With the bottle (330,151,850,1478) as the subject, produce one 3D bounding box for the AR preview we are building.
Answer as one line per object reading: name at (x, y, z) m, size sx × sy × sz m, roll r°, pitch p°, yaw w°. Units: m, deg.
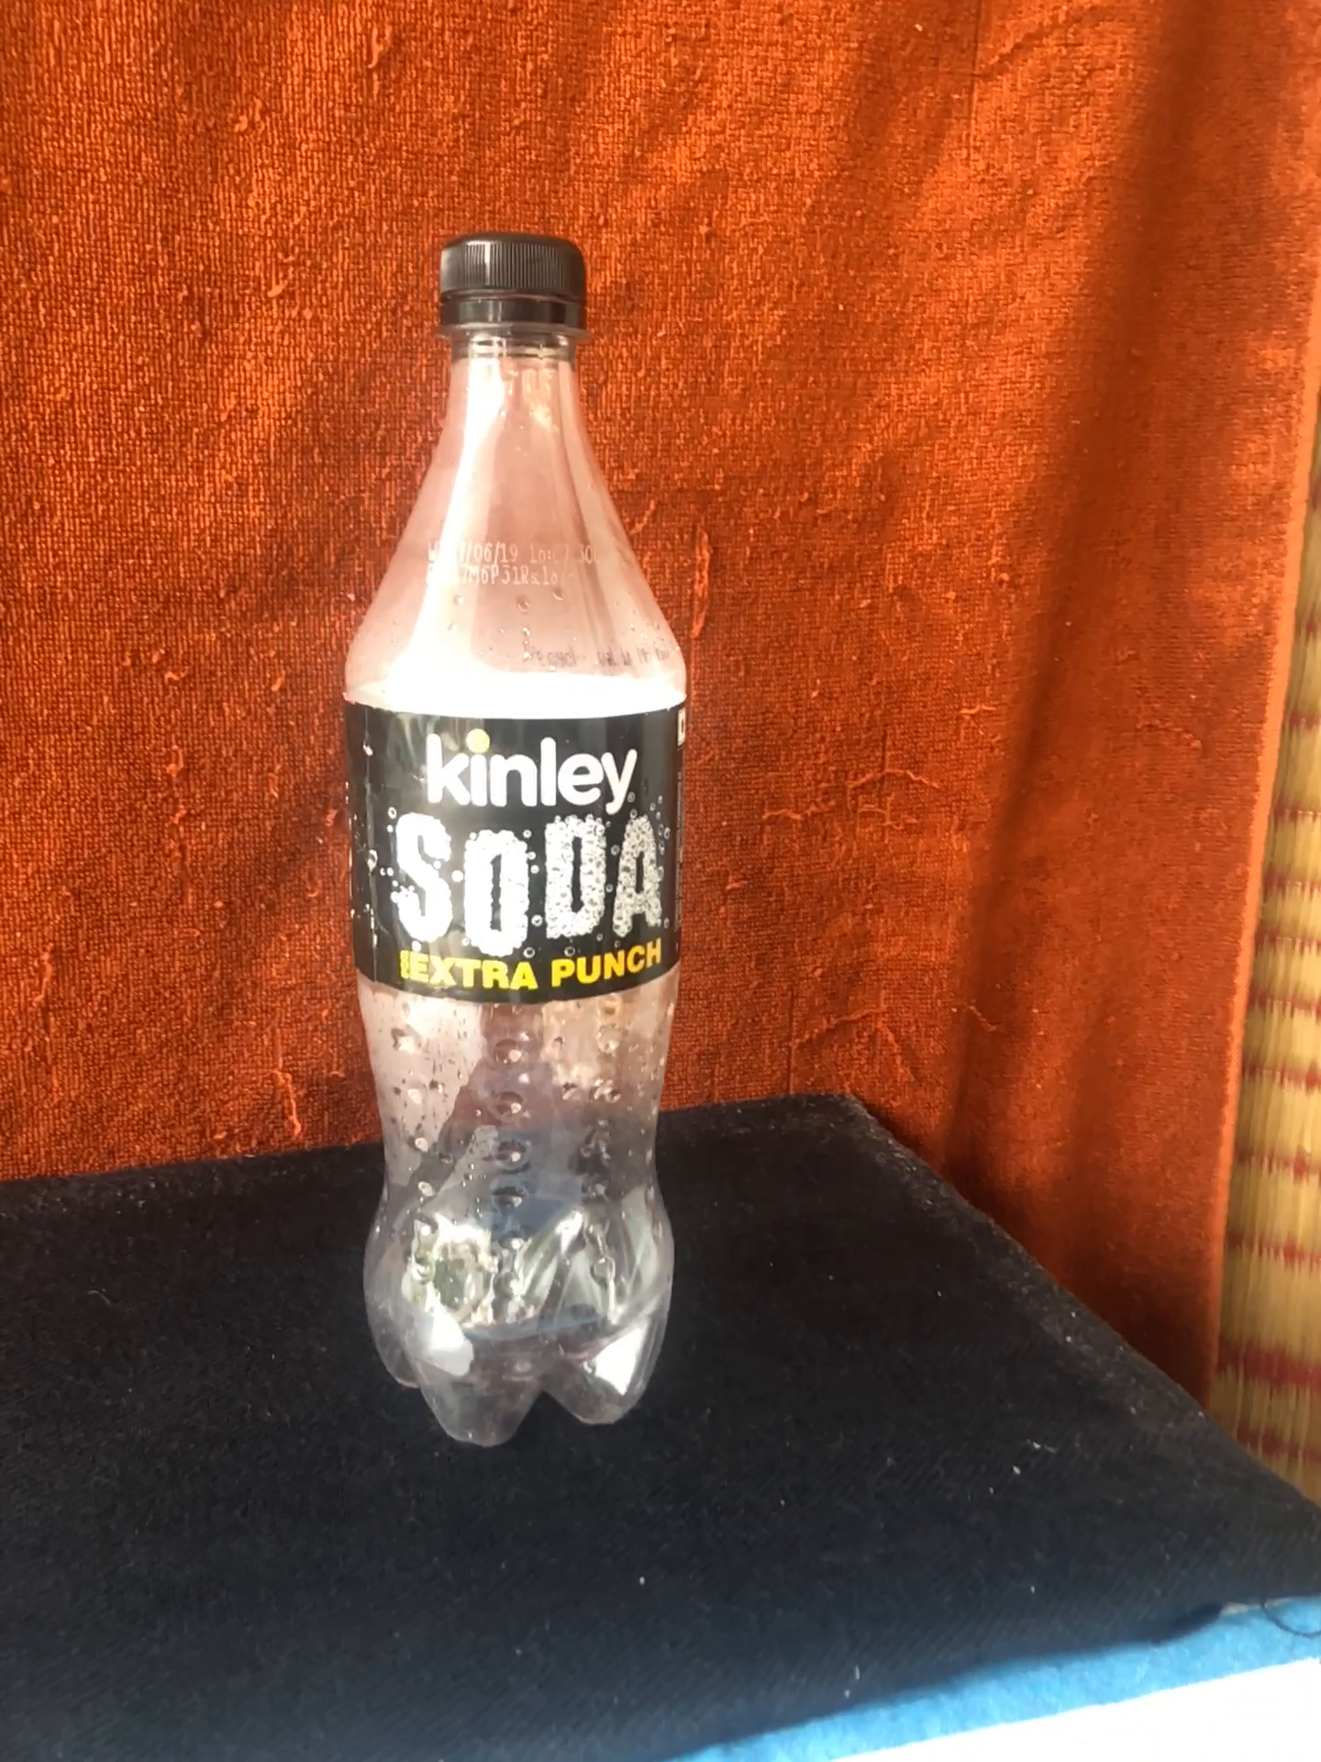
bottle at (-0.025, -0.007, 0.322) m, size 0.090 × 0.259 × 0.070 m, roll 0°, pitch 16°, yaw -14°
